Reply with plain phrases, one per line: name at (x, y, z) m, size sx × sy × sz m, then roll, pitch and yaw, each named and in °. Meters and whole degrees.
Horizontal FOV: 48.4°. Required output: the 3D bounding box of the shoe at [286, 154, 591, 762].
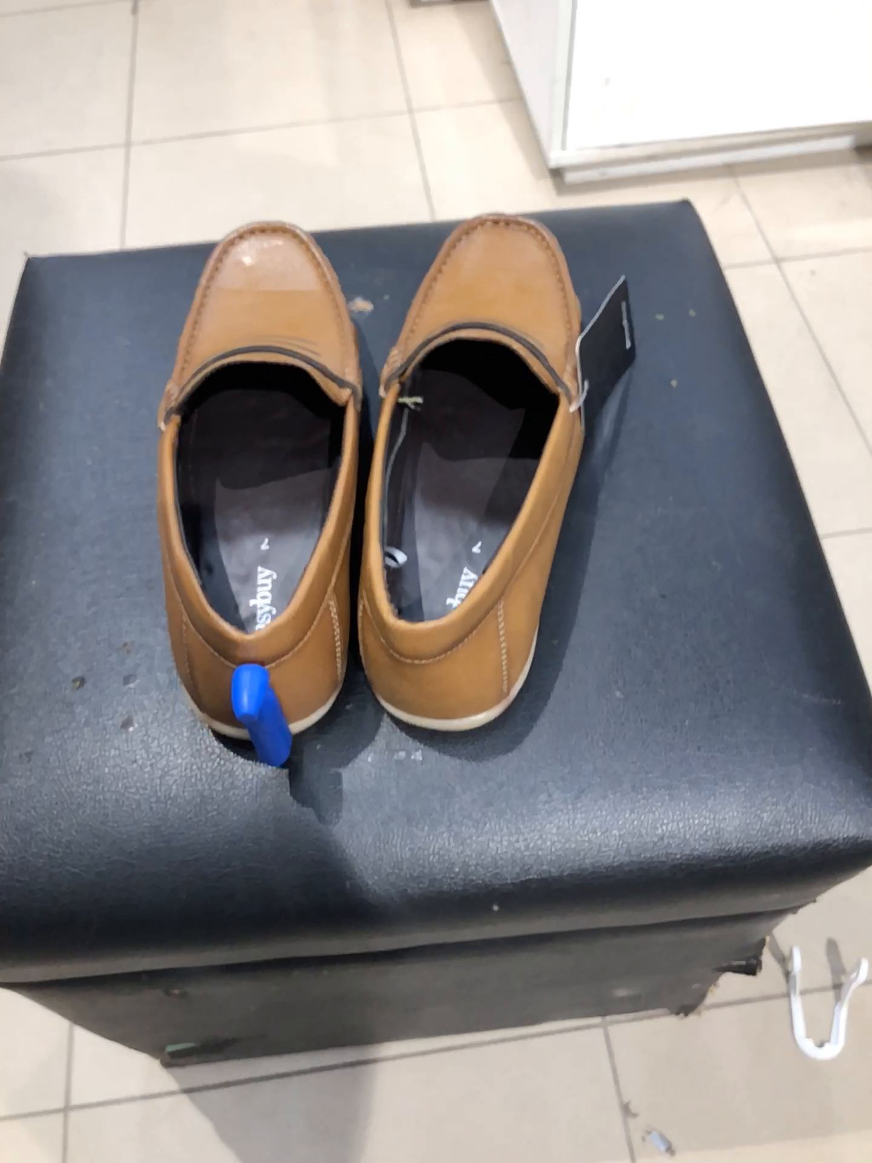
shoe at (0.014, -0.068, 0.435) m, size 0.098 × 0.088 × 0.274 m, roll 4°, pitch 57°, yaw 5°

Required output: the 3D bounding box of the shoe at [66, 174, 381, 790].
shoe at (-0.083, -0.057, 0.436) m, size 0.098 × 0.088 × 0.274 m, roll -5°, pitch 57°, yaw -1°
